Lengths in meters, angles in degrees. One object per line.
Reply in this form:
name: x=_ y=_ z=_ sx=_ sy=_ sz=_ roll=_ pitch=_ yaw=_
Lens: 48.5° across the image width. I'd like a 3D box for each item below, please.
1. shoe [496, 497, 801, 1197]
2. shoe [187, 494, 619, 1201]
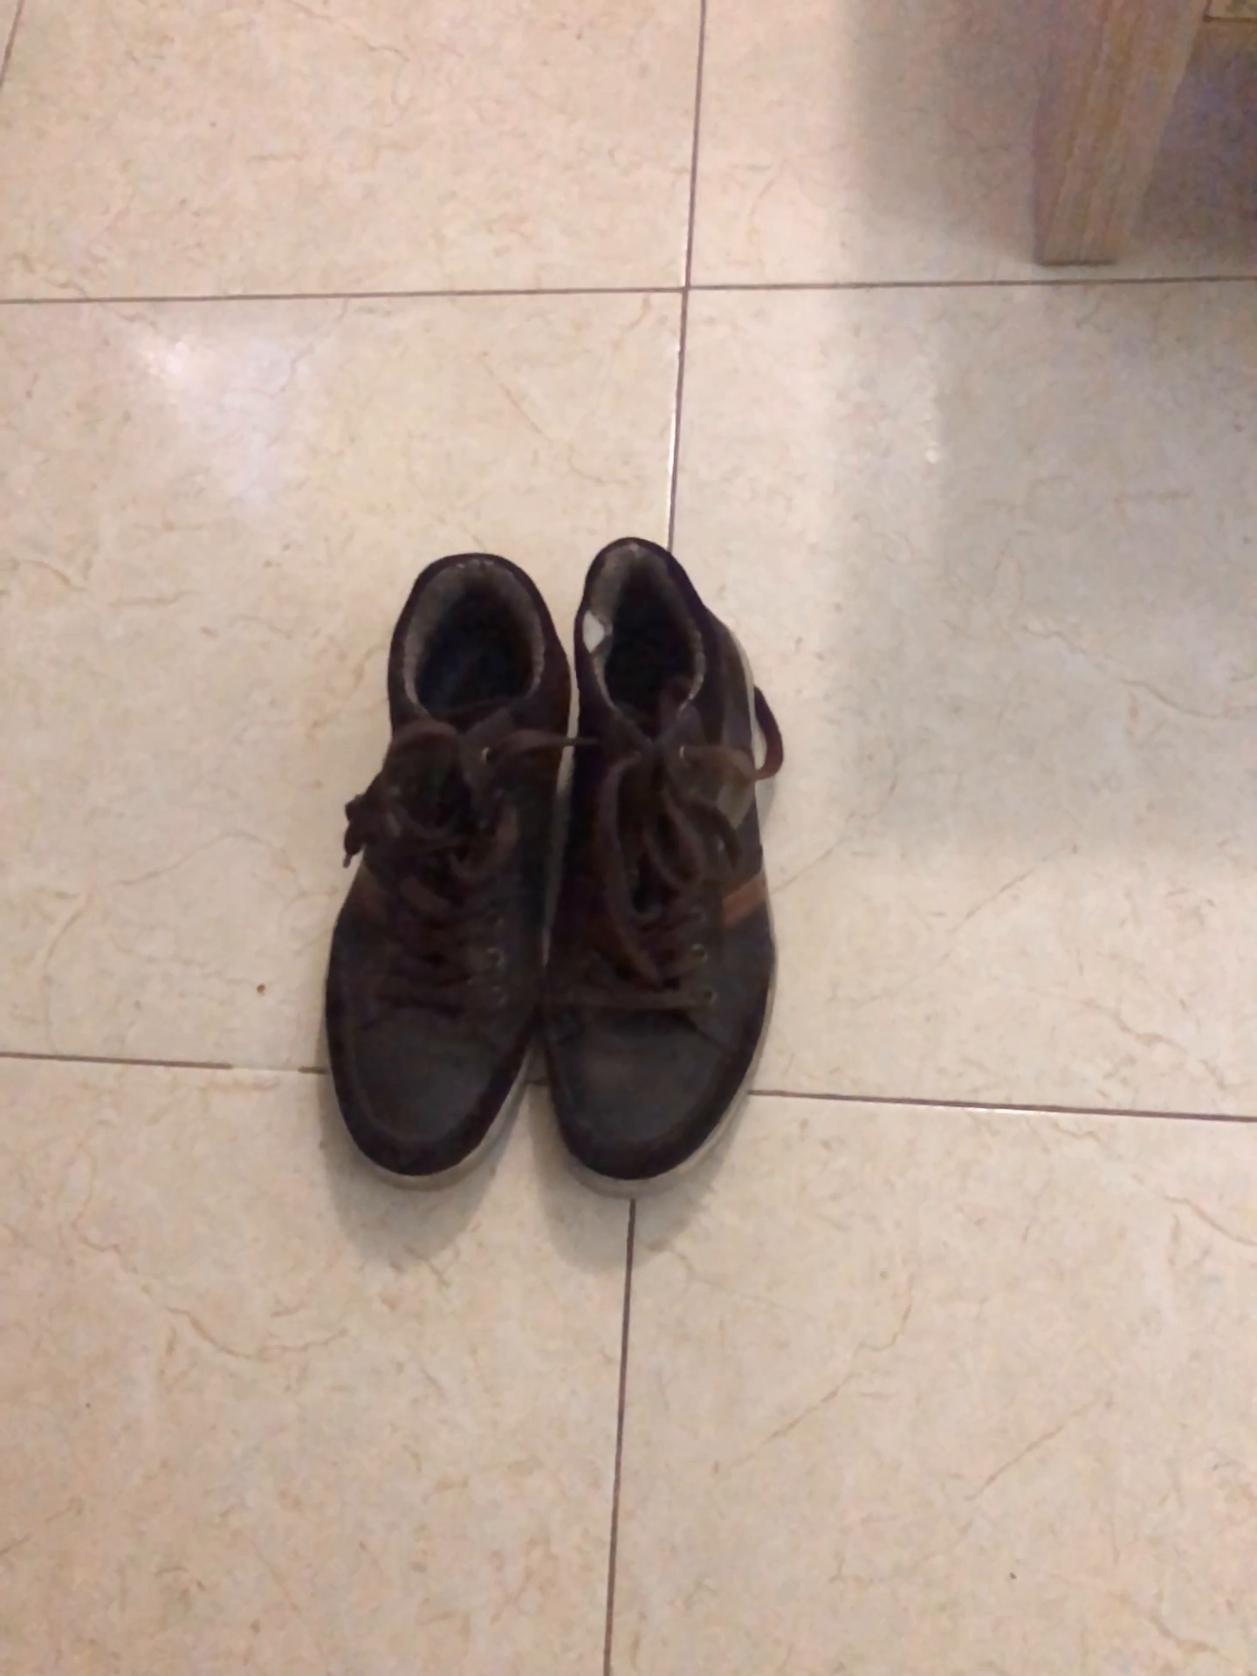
shoe: x=0.012 y=0.008 z=0.642 sx=0.120 sy=0.110 sz=0.300 roll=-2 pitch=73 yaw=6
shoe: x=-0.092 y=0.005 z=0.653 sx=0.120 sy=0.110 sz=0.300 roll=7 pitch=74 yaw=8
